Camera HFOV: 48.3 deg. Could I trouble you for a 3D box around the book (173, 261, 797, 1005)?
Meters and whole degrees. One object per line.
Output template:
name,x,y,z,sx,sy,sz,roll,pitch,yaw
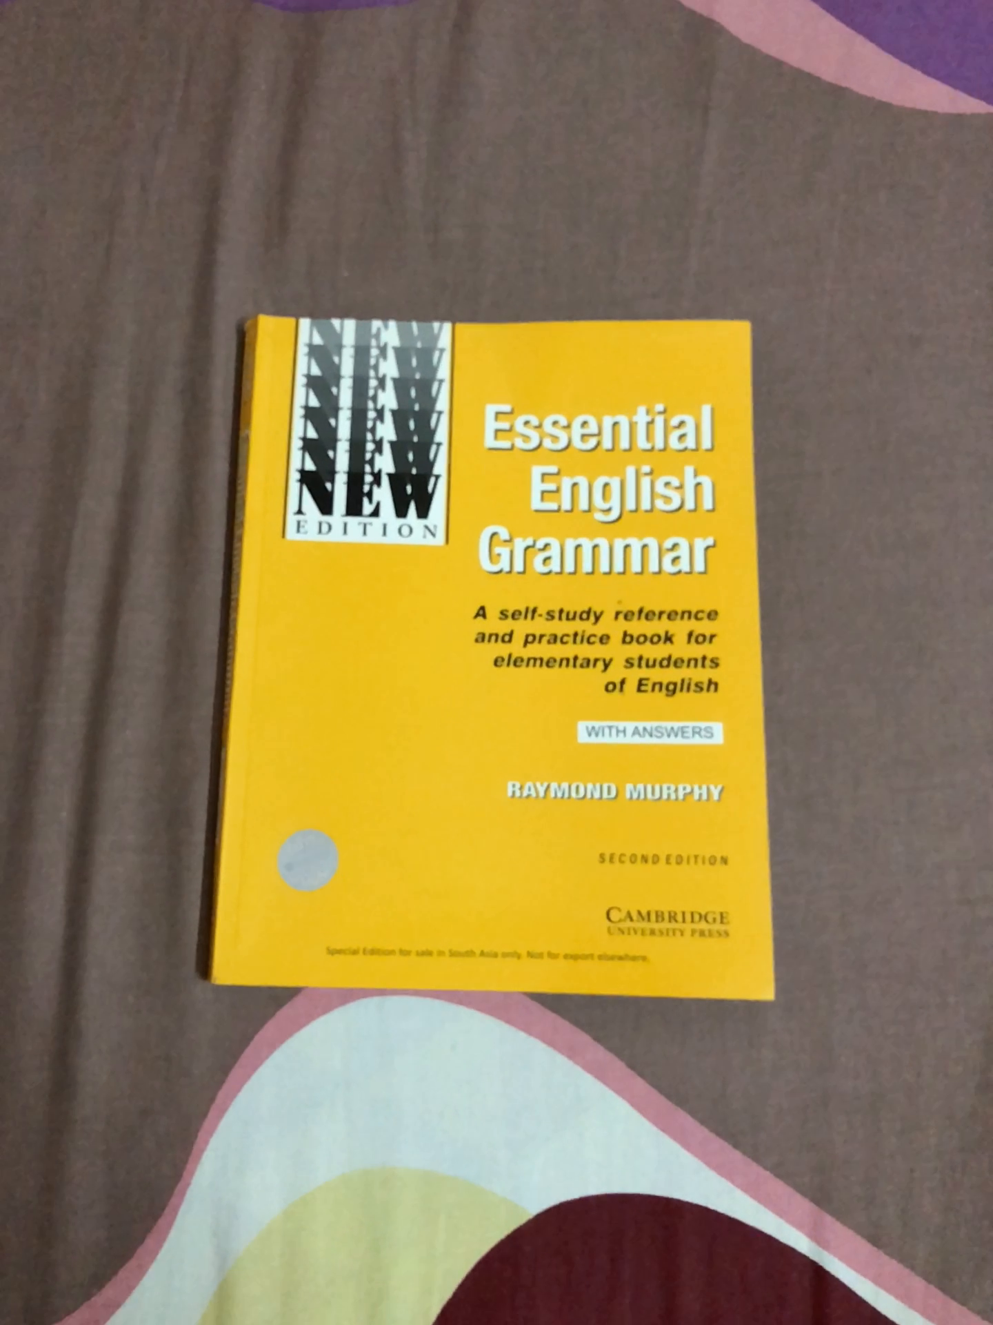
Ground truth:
book,0.000,-0.015,0.387,0.190,0.040,0.250,2,76,-1
